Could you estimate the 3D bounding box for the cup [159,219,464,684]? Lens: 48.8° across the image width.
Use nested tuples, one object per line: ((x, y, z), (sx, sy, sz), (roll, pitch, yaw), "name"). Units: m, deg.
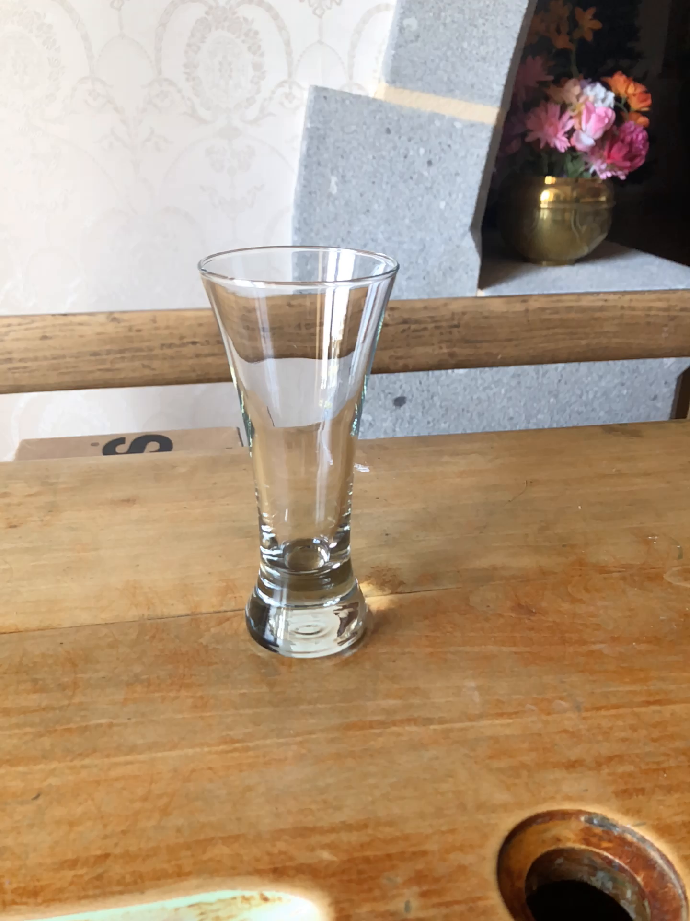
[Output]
((-0.011, -0.009, 0.296), (0.070, 0.149, 0.080), (21, 32, 38), "cup")
